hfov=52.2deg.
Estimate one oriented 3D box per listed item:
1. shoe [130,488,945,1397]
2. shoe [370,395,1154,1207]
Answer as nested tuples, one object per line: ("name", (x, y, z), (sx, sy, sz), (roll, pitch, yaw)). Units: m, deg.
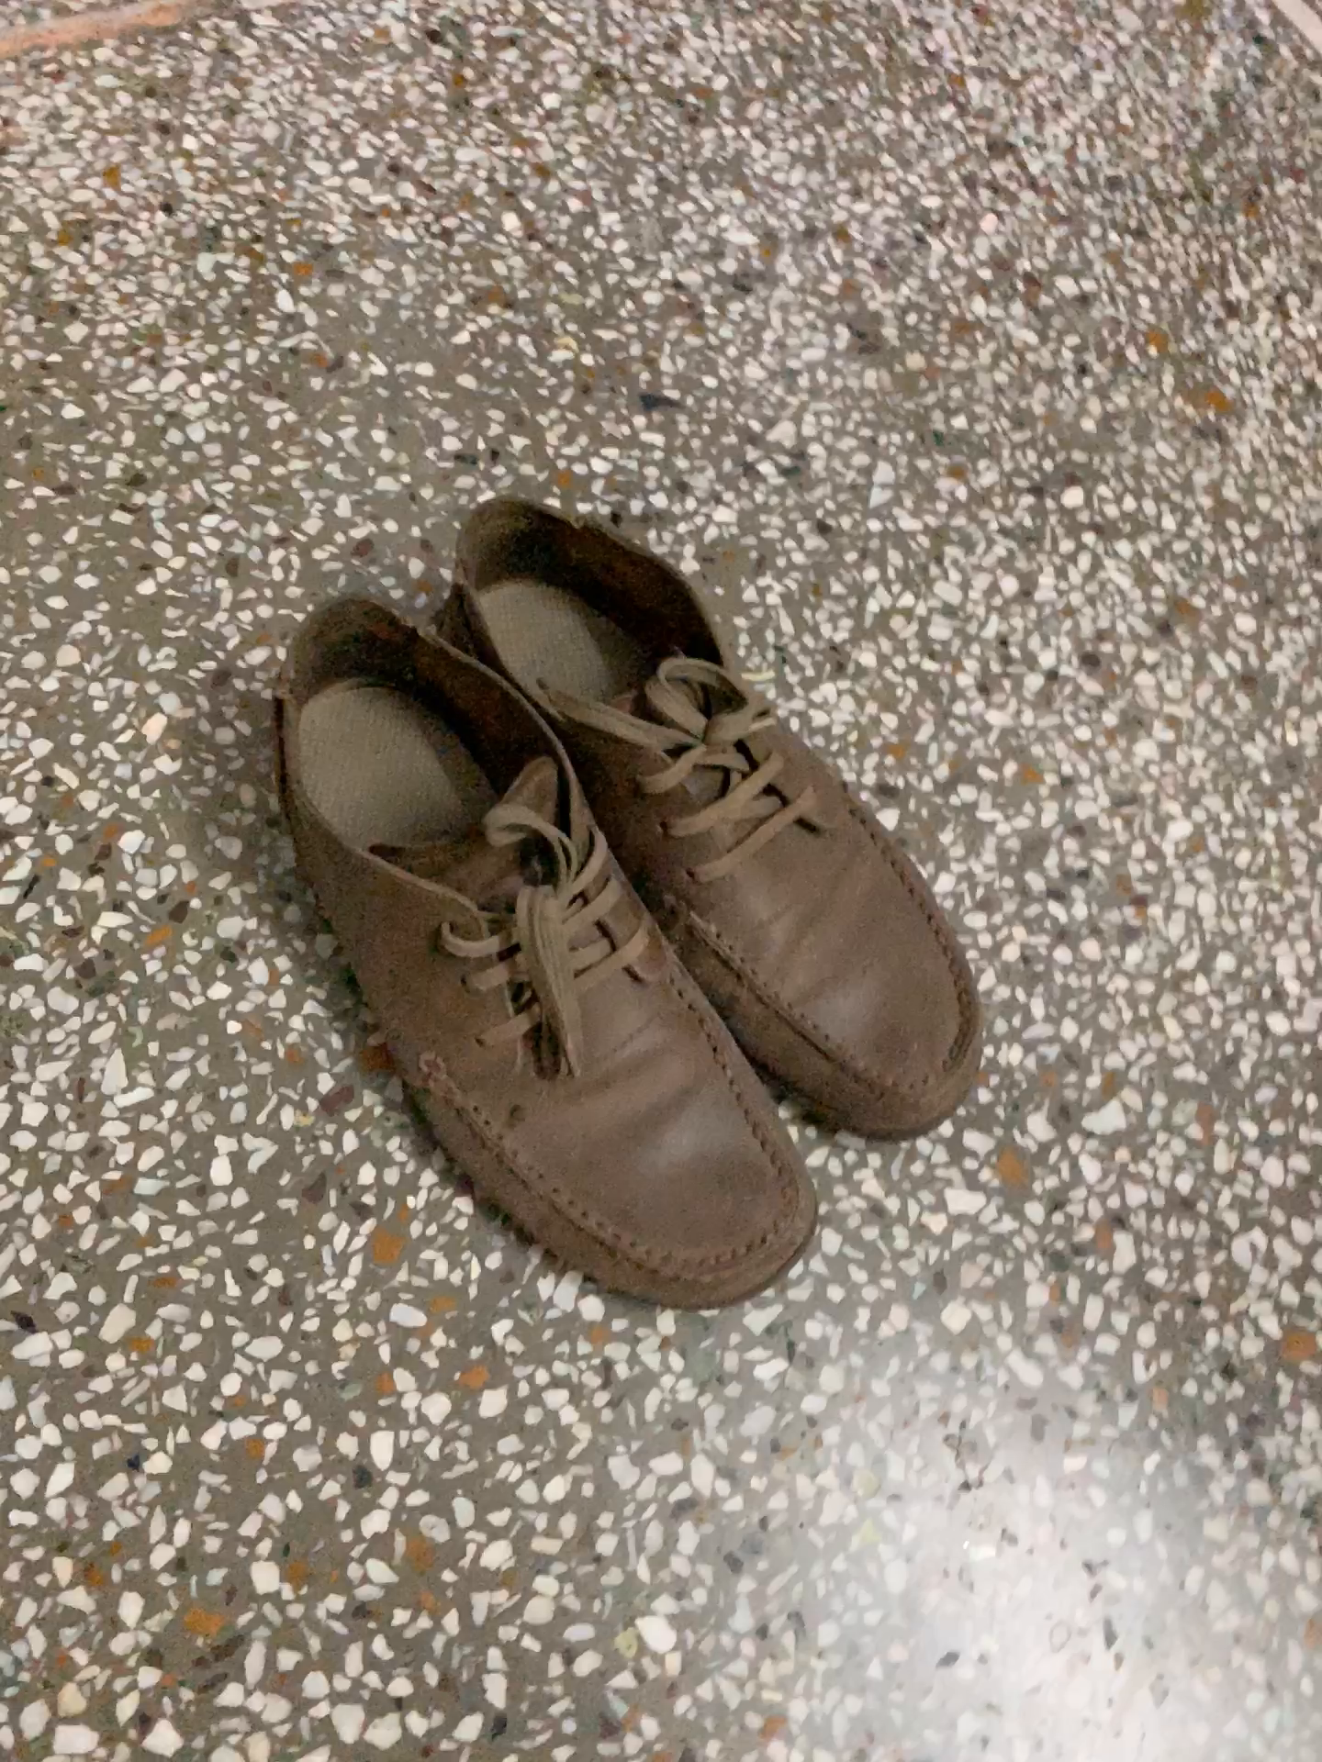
("shoe", (-0.050, 0.020, 0.462), (0.100, 0.100, 0.290), (-34, 76, -19))
("shoe", (0.024, -0.030, 0.506), (0.100, 0.100, 0.290), (-38, 77, -20))
